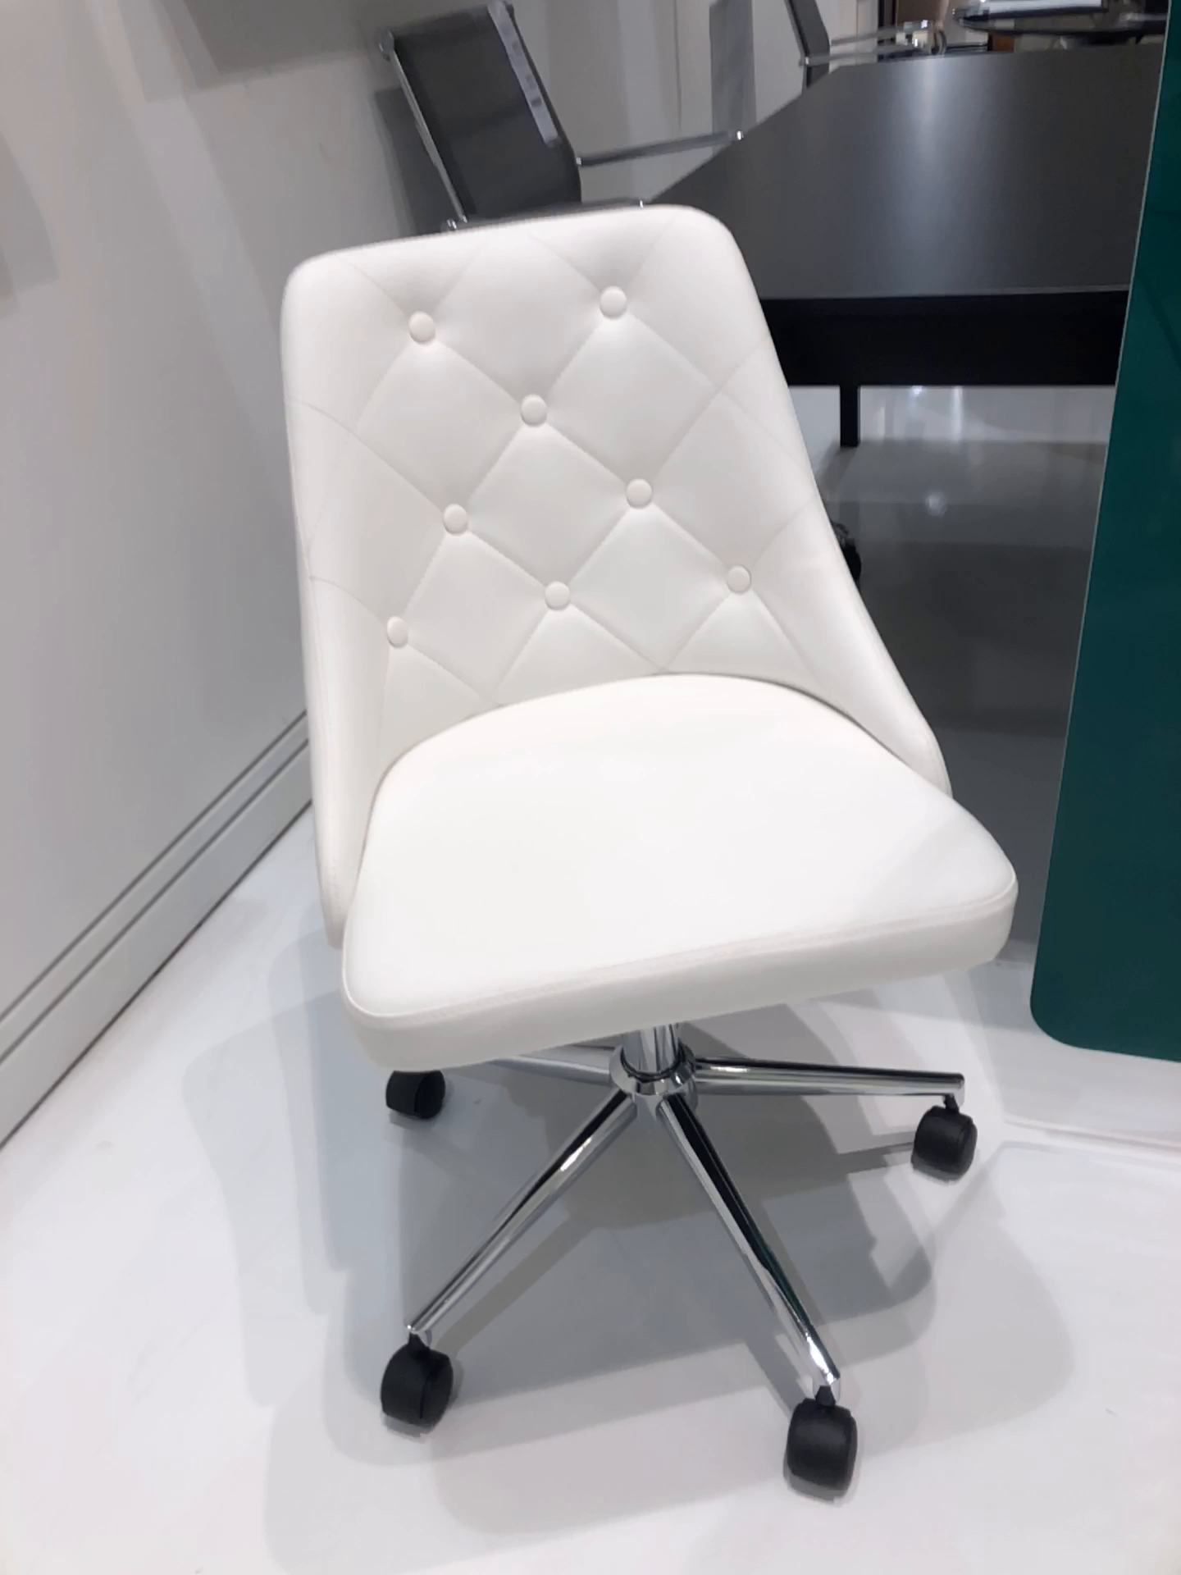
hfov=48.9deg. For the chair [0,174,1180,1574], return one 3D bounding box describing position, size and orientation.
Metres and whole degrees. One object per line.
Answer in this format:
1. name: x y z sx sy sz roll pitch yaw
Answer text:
1. chair: 0.039 0.047 1.057 0.600 0.854 0.645 -9 33 -4
